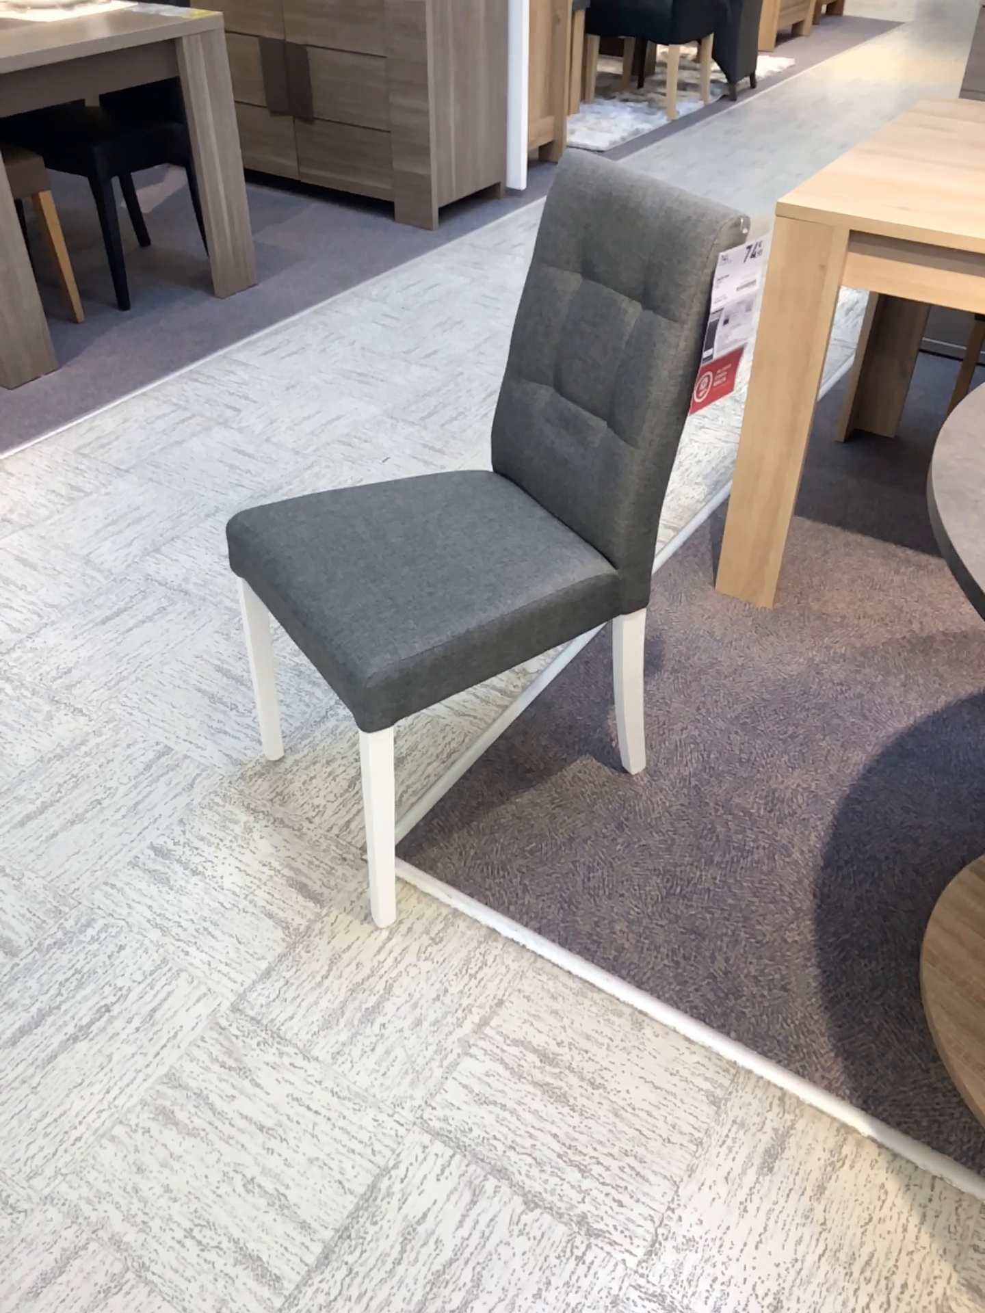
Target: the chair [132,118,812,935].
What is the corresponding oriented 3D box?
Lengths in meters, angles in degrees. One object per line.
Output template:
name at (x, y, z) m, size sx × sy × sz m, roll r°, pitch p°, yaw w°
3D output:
chair at (-0.036, -0.178, 1.414) m, size 0.582 × 0.825 × 0.461 m, roll -20°, pitch 43°, yaw -24°
